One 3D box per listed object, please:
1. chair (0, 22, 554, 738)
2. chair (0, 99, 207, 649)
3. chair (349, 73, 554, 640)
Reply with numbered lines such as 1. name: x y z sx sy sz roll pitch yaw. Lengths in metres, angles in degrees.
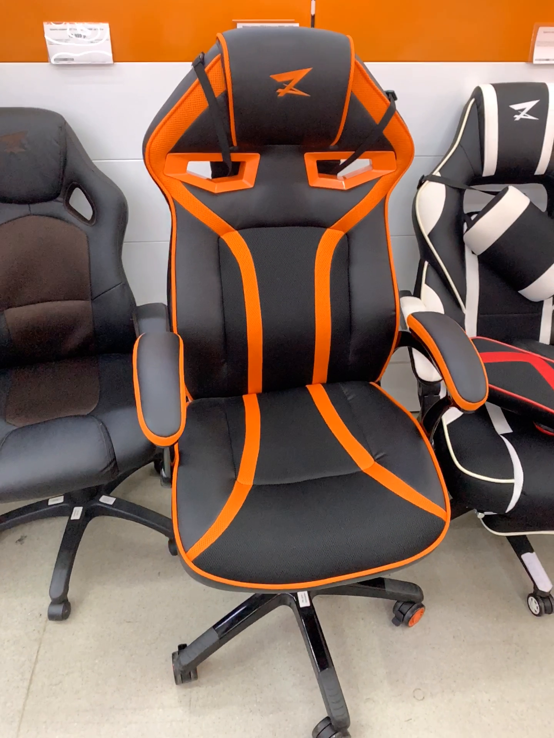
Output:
1. chair: 0.058 0.096 1.143 0.720 1.313 0.734 -3 35 -4
2. chair: -0.691 0.028 1.623 0.820 1.323 0.724 -6 36 -9
3. chair: 0.765 -0.060 1.529 0.850 1.193 0.824 -6 36 -9
